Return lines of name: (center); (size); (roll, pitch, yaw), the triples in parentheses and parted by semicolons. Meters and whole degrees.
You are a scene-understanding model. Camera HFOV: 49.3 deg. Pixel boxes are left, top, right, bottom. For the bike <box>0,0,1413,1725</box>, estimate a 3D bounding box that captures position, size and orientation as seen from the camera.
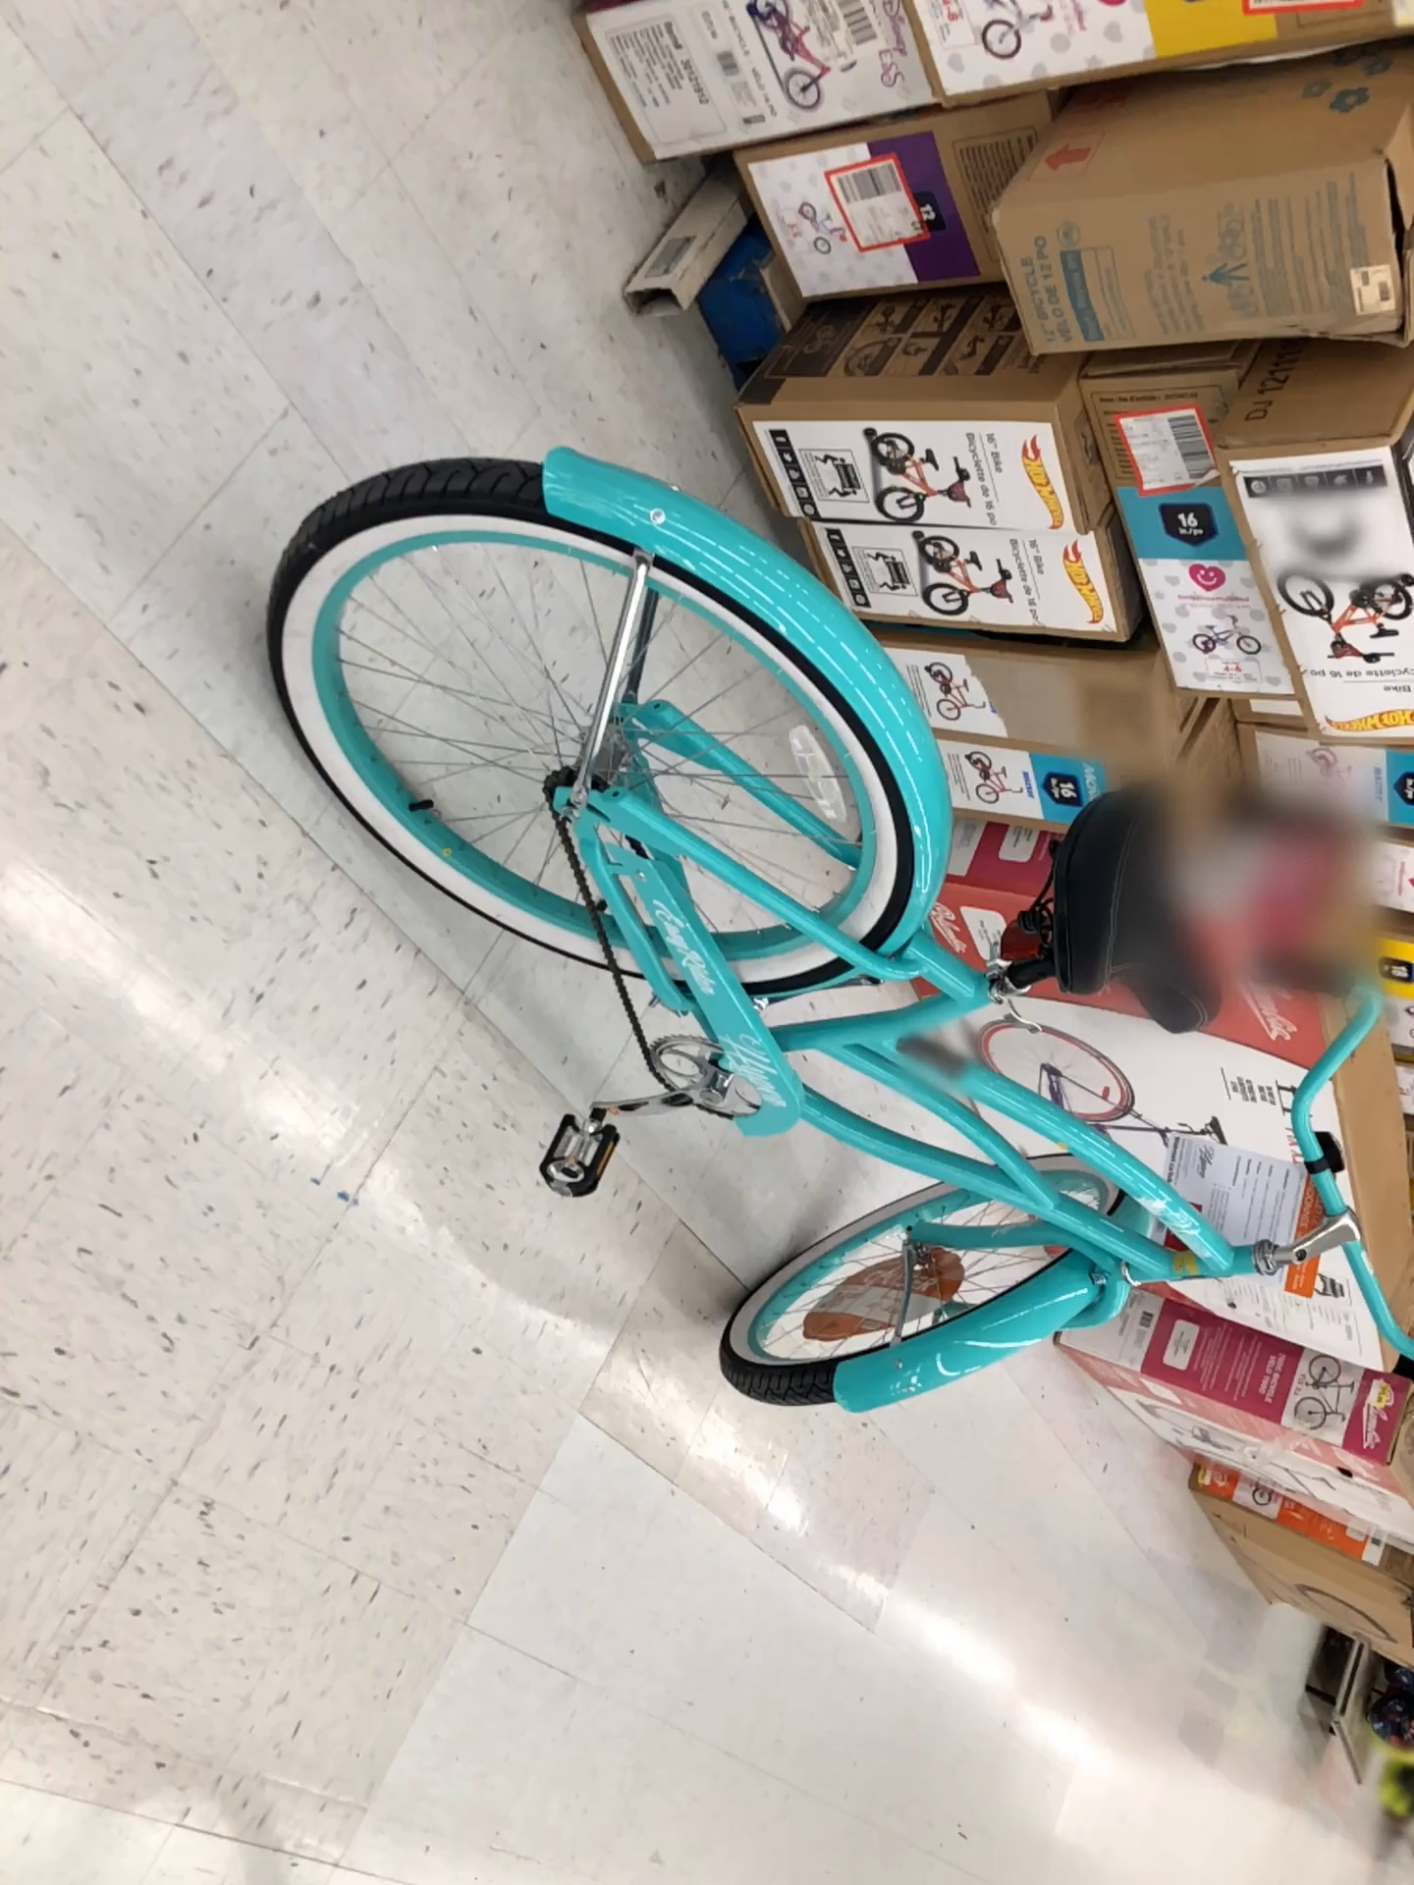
bike: (0.358, 0.079, 1.643); (1.589, 1.152, 0.852); (43, 65, -48)
